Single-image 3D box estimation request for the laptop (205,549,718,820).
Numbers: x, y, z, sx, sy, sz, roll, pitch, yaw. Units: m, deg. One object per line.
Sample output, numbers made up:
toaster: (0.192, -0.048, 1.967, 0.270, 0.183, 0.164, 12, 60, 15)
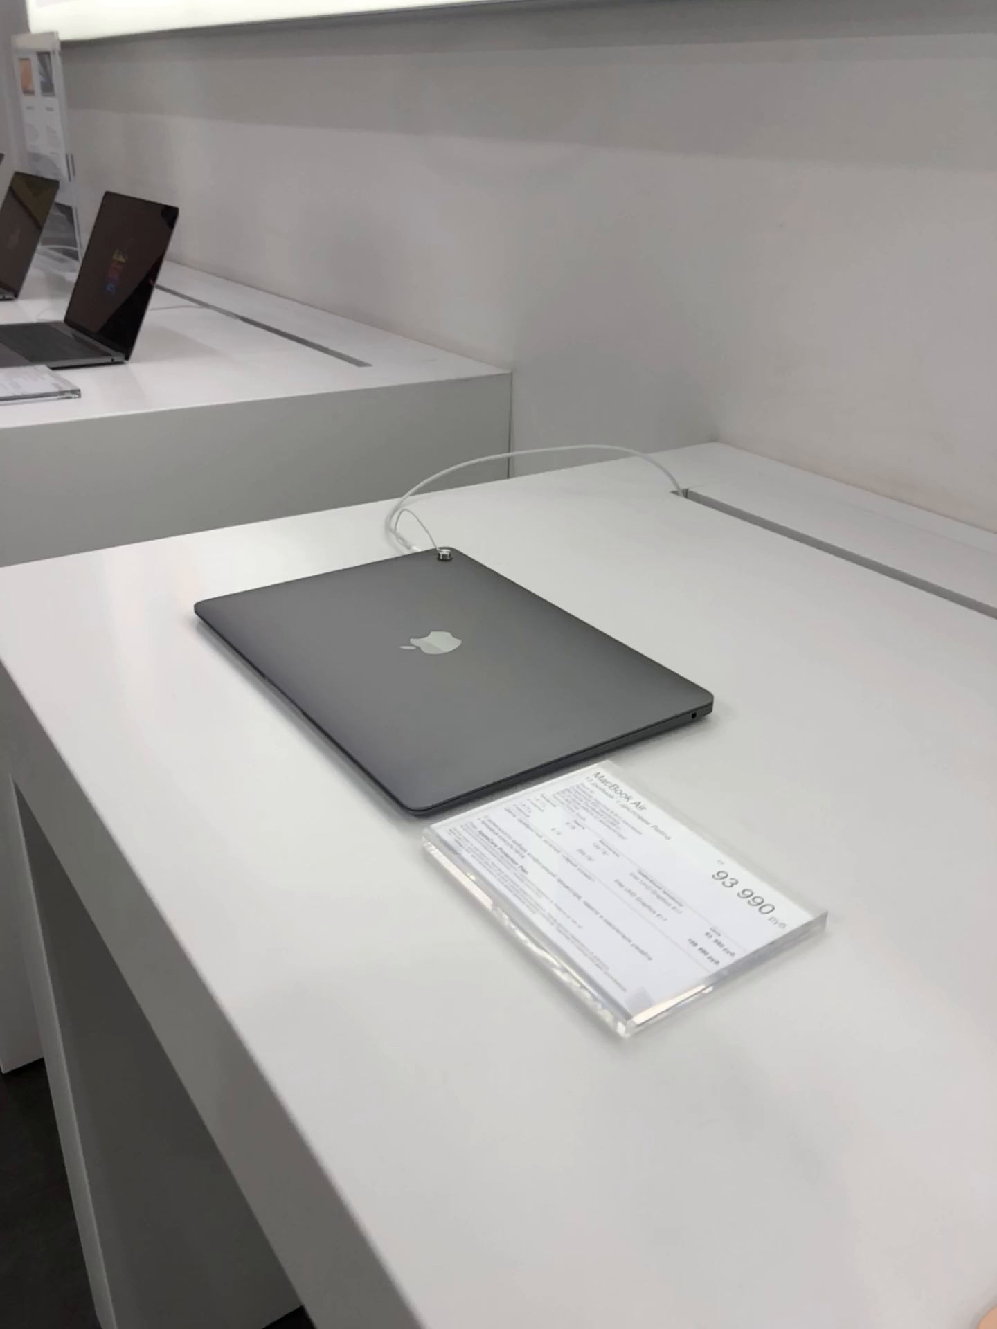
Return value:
laptop: (-0.037, -0.007, 0.698, 0.204, 0.006, 0.293, -17, 31, -30)
